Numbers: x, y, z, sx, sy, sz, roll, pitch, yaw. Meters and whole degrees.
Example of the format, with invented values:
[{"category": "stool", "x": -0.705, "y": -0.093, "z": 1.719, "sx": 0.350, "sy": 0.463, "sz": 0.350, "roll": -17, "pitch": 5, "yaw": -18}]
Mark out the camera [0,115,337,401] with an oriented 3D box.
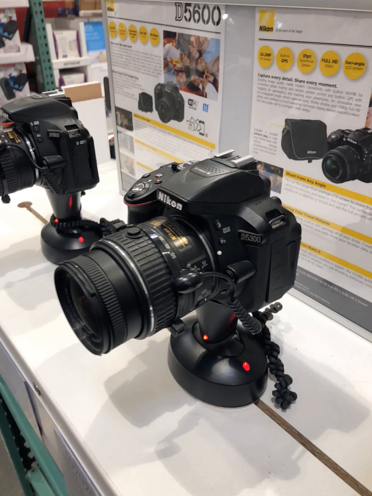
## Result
[{"category": "camera", "x": -0.010, "y": -0.015, "z": 0.266, "sx": 0.150, "sy": 0.089, "sz": 0.131, "roll": -26, "pitch": 40, "yaw": -35}]
